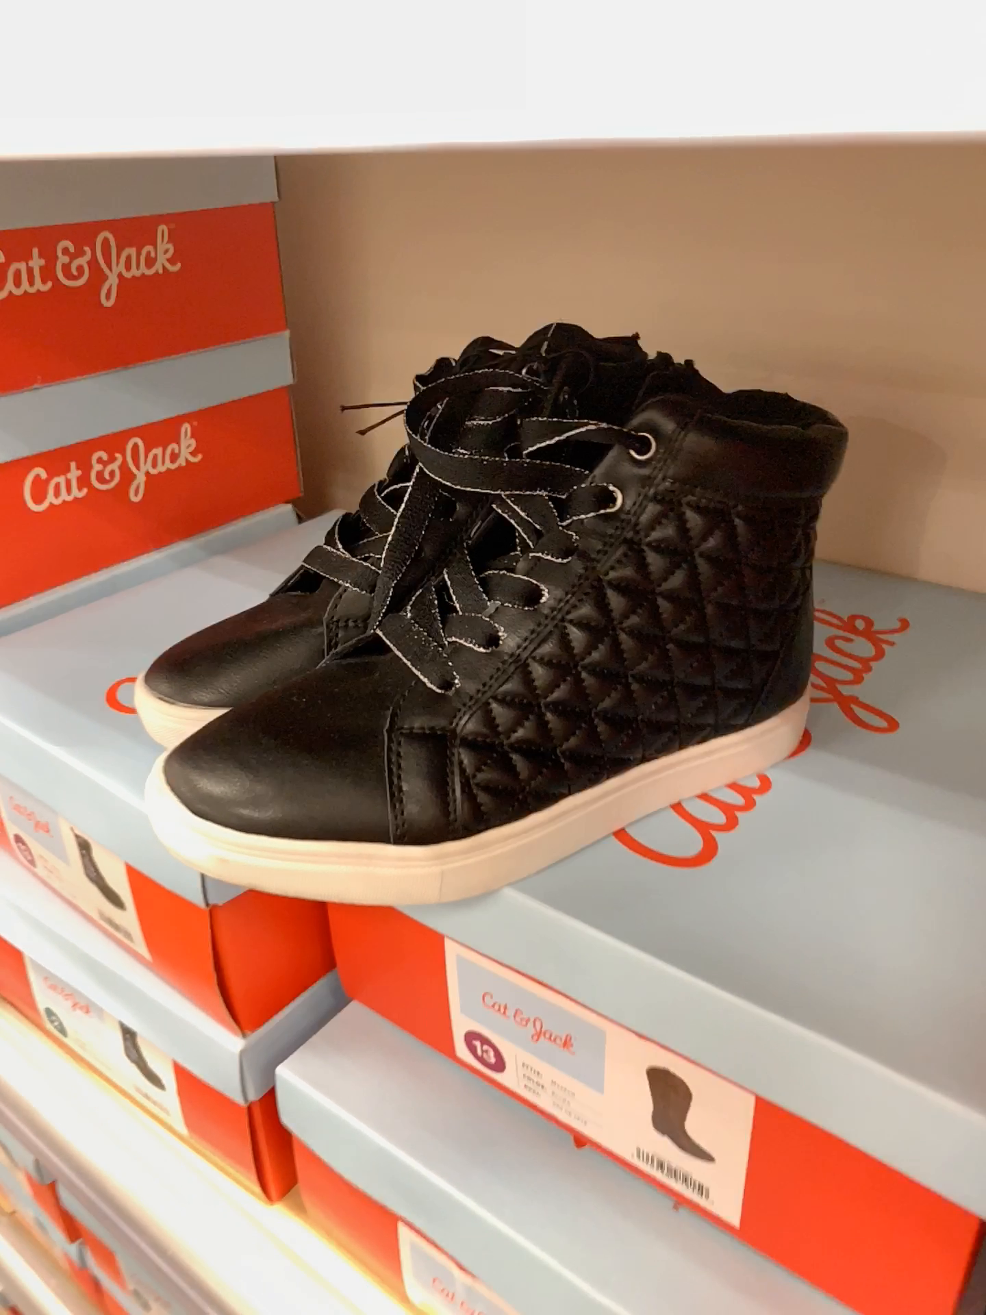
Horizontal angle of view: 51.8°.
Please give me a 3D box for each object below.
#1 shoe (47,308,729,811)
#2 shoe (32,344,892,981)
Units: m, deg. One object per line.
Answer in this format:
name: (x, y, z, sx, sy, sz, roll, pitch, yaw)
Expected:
shoe: (-0.033, -0.053, 0.402, 0.230, 0.119, 0.100, -18, 32, -23)
shoe: (-0.003, -0.017, 0.321, 0.230, 0.109, 0.100, -18, 32, -23)
